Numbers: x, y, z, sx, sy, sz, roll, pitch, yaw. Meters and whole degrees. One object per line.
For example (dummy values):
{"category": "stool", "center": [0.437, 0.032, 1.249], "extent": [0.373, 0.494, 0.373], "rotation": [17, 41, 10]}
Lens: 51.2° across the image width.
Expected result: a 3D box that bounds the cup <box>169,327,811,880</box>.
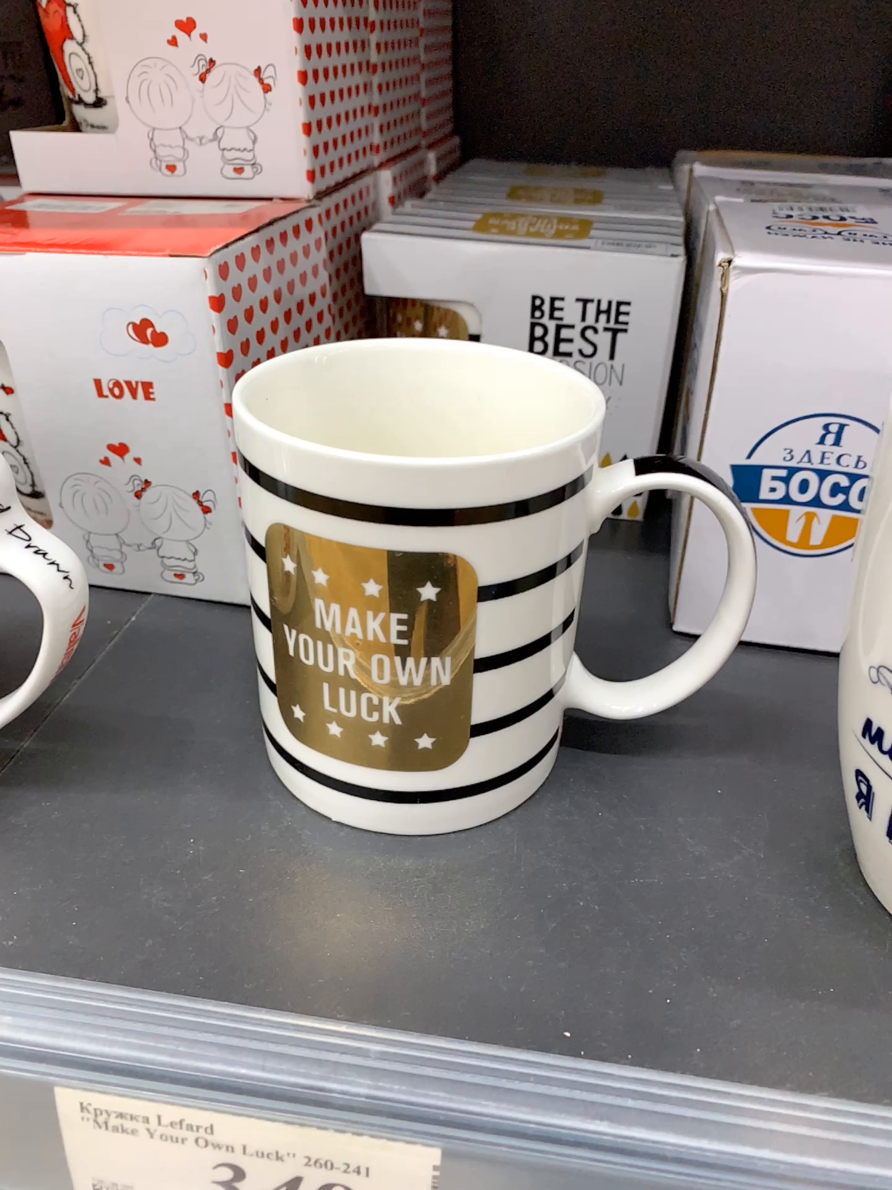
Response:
{"category": "cup", "center": [0.010, -0.002, 0.225], "extent": [0.114, 0.096, 0.082], "rotation": [5, 31, 5]}
